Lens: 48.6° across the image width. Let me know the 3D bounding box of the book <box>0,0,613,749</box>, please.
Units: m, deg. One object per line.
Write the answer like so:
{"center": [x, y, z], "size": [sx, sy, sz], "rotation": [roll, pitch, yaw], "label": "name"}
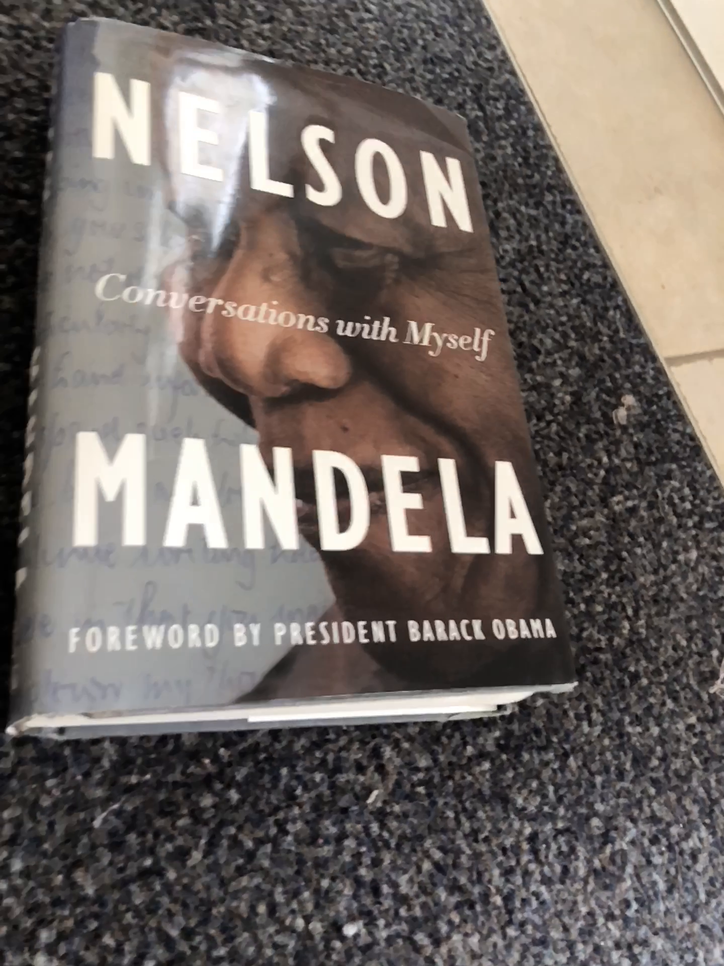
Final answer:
{"center": [-0.025, -0.049, 0.271], "size": [0.171, 0.050, 0.250], "rotation": [5, 65, -24], "label": "book"}
